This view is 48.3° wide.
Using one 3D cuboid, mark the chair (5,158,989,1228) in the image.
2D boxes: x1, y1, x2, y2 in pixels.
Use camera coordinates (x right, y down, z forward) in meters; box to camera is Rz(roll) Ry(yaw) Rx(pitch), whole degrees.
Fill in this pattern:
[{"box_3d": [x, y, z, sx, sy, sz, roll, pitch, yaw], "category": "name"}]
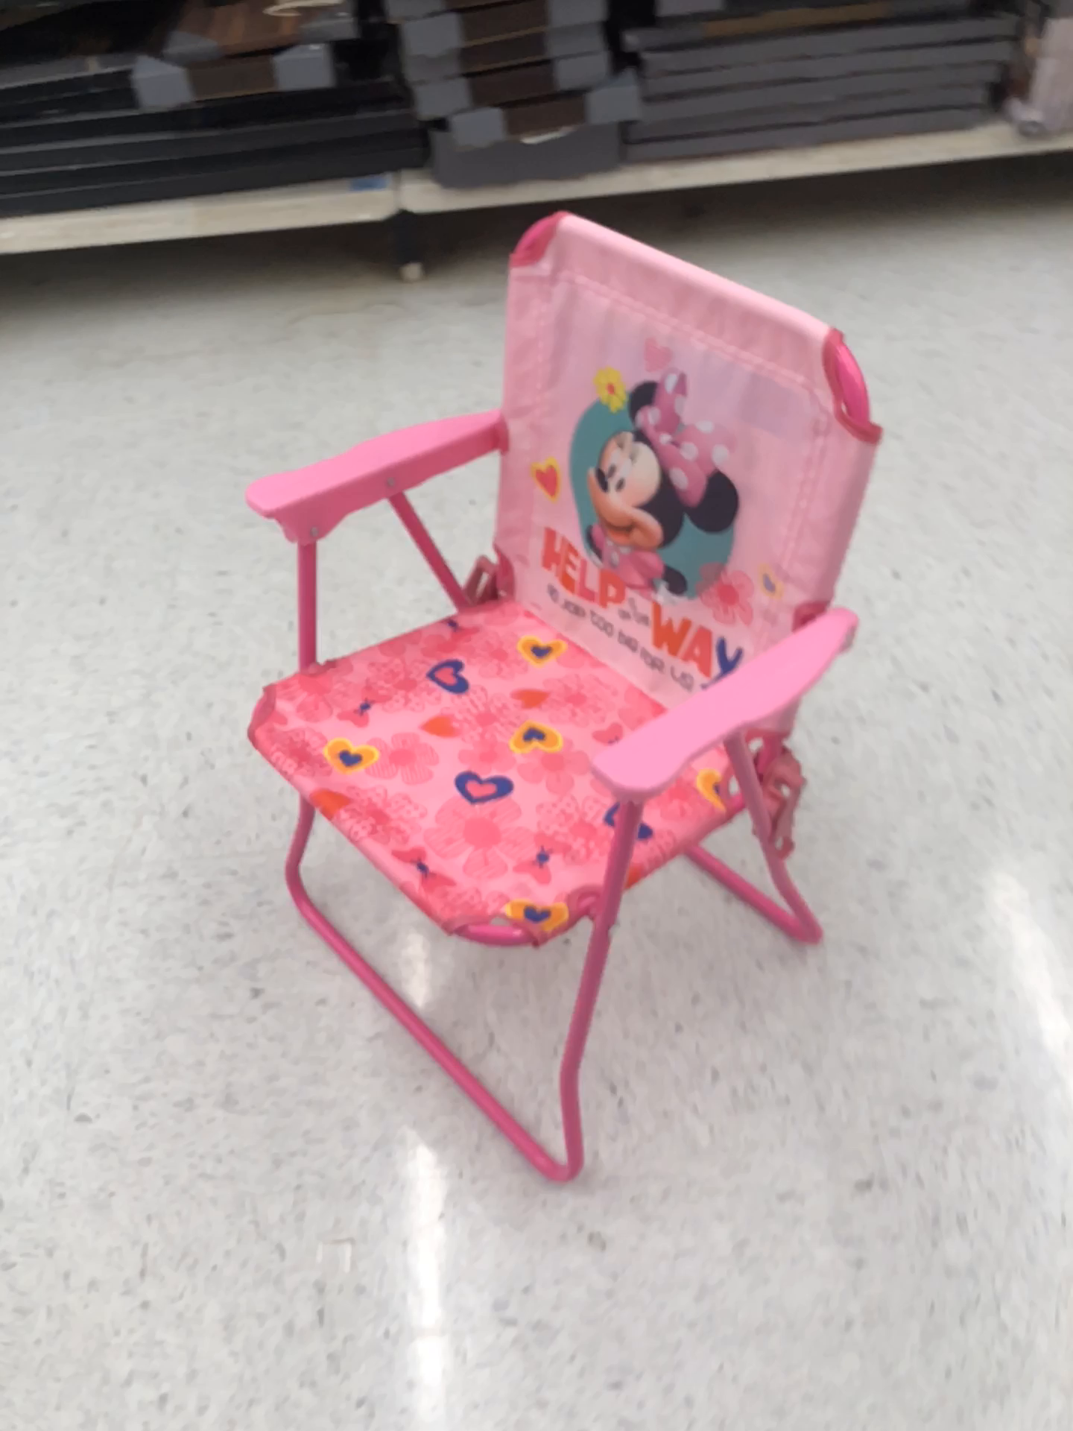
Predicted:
[{"box_3d": [-0.014, -0.007, 0.779, 0.340, 0.489, 0.361, -36, 55, -24], "category": "chair"}]
